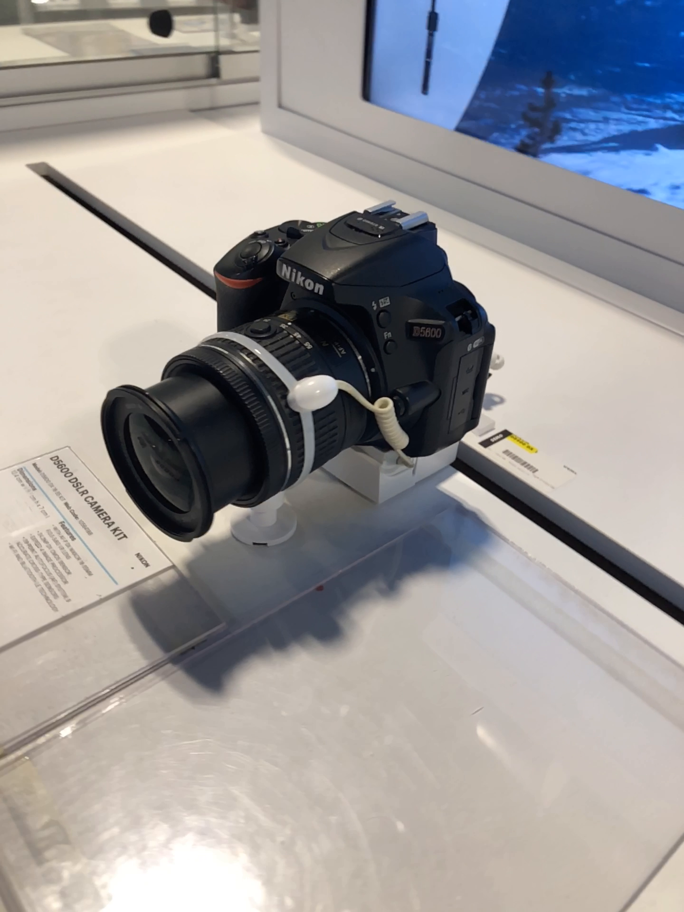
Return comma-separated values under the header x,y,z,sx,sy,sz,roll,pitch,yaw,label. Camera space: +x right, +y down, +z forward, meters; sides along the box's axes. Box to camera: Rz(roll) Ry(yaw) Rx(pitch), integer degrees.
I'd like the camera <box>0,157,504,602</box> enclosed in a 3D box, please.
x,y,z,sx,sy,sz,roll,pitch,yaw,label
-0.037,-0.045,0.300,0.130,0.089,0.140,31,44,31,camera
